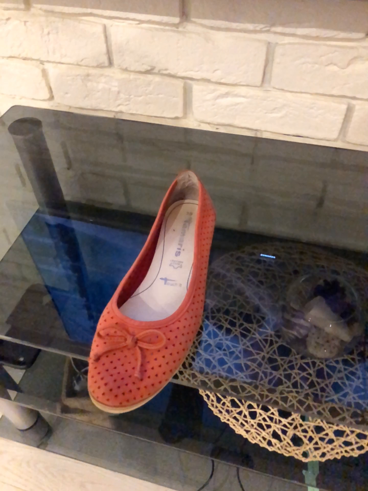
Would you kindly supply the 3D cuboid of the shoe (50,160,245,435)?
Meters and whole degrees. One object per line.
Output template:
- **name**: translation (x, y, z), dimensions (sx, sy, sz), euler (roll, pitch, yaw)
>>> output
- **shoe**: translation (-0.015, 0.029, 0.386), dimensions (0.090, 0.079, 0.249), euler (12, 49, 12)
